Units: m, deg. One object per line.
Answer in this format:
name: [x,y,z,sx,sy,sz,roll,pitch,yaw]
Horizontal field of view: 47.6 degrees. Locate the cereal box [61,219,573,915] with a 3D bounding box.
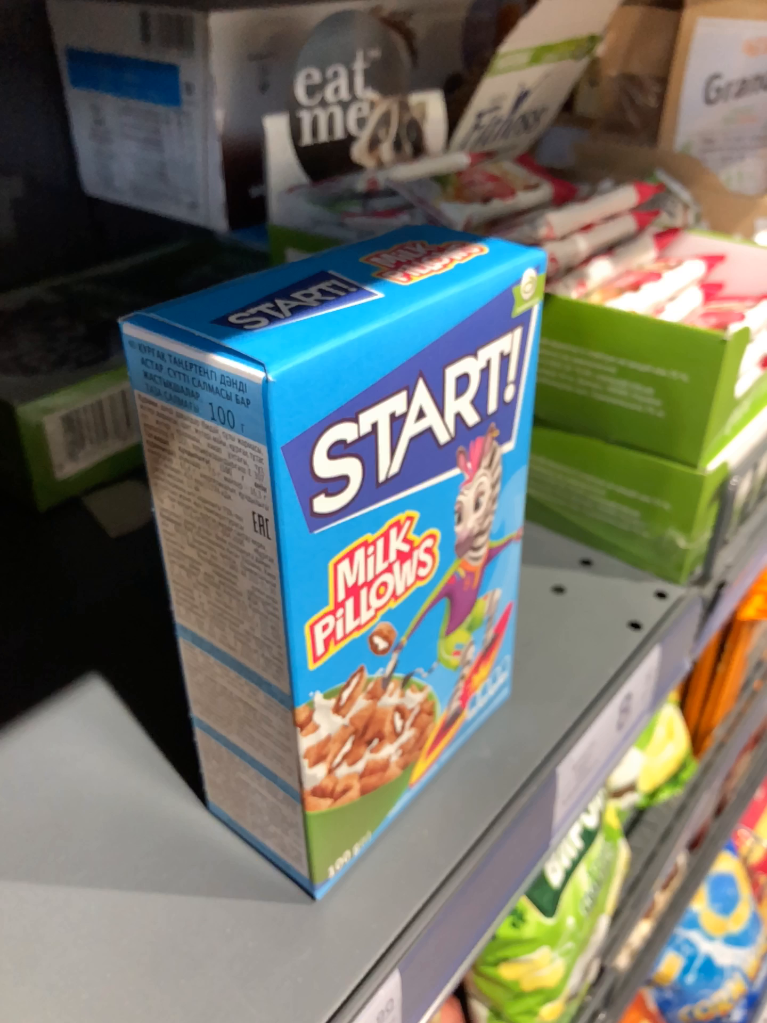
cereal box: [-0.011,0.012,0.273,0.070,0.169,0.121,24,40,34]
